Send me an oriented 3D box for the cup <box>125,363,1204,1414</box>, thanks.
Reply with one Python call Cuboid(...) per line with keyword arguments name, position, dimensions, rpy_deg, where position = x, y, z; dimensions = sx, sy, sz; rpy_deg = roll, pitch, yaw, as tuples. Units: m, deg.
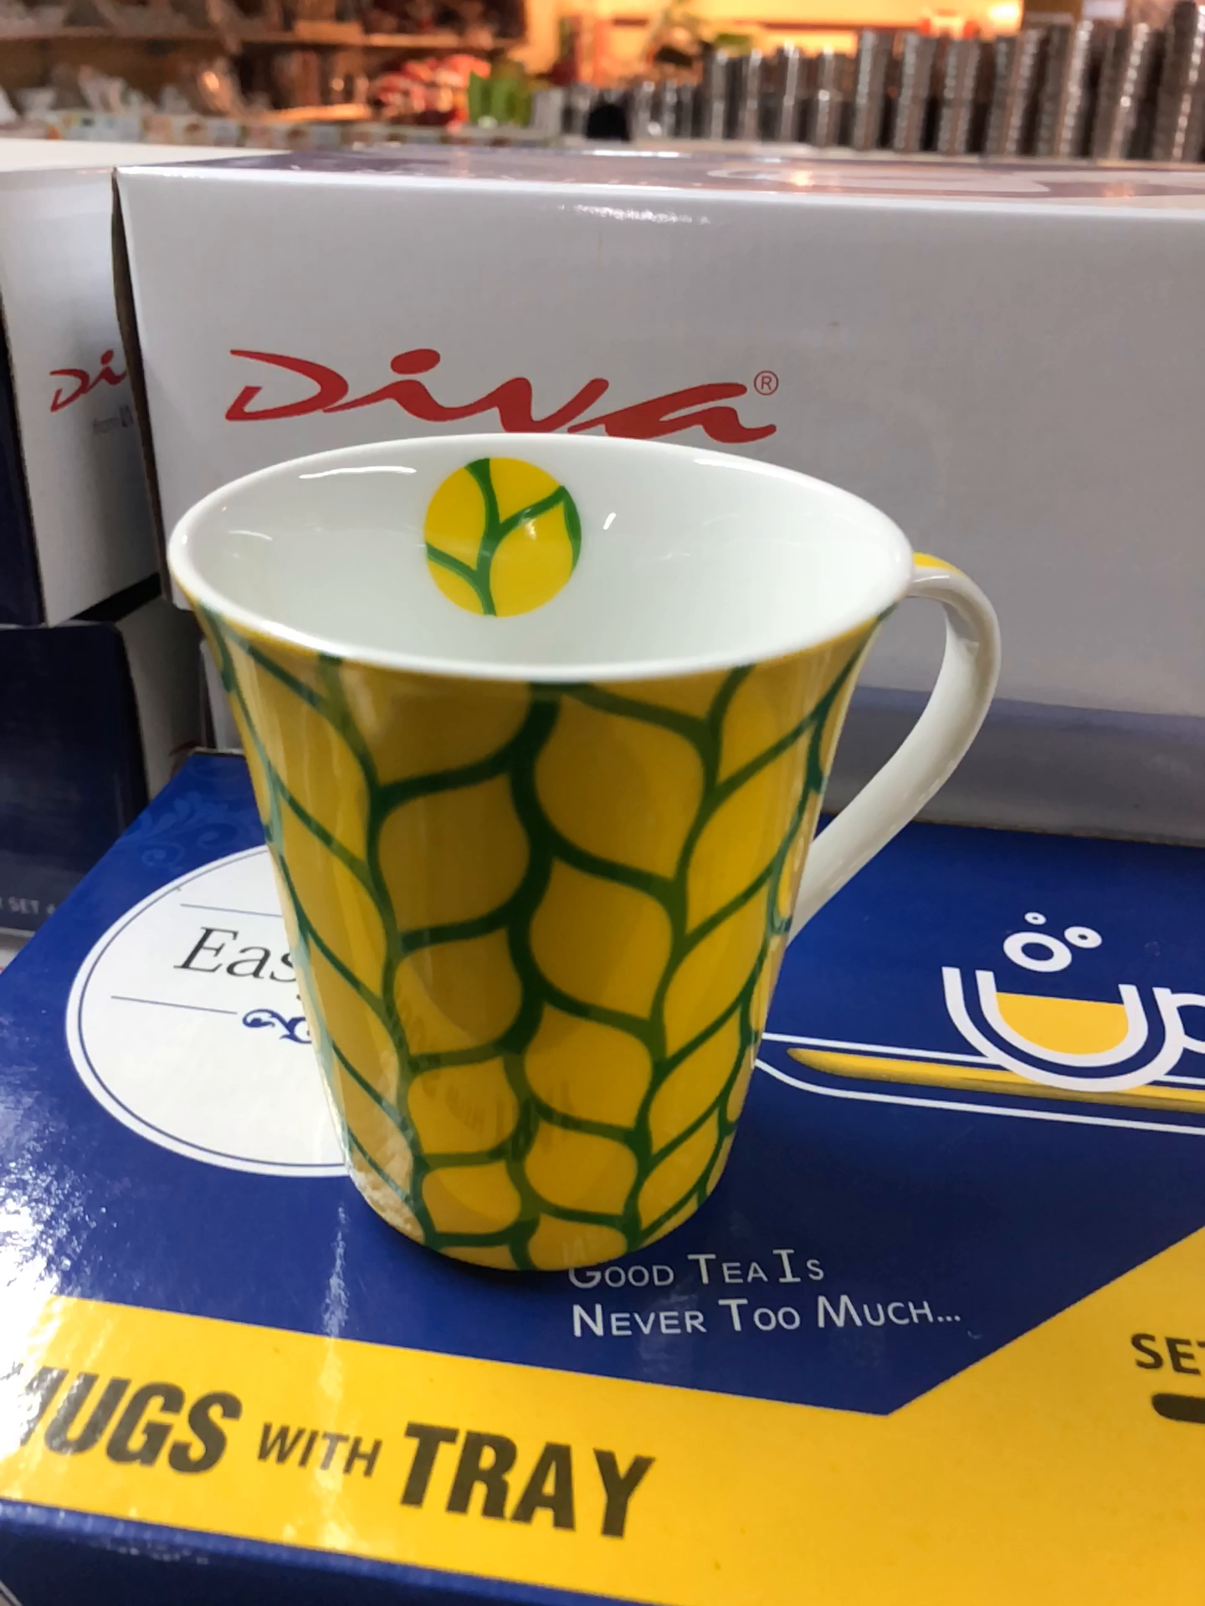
Cuboid(name="cup", position=(0.008, -0.002, 0.184), dimensions=(0.110, 0.089, 0.080), rpy_deg=(-15, 33, -28))
